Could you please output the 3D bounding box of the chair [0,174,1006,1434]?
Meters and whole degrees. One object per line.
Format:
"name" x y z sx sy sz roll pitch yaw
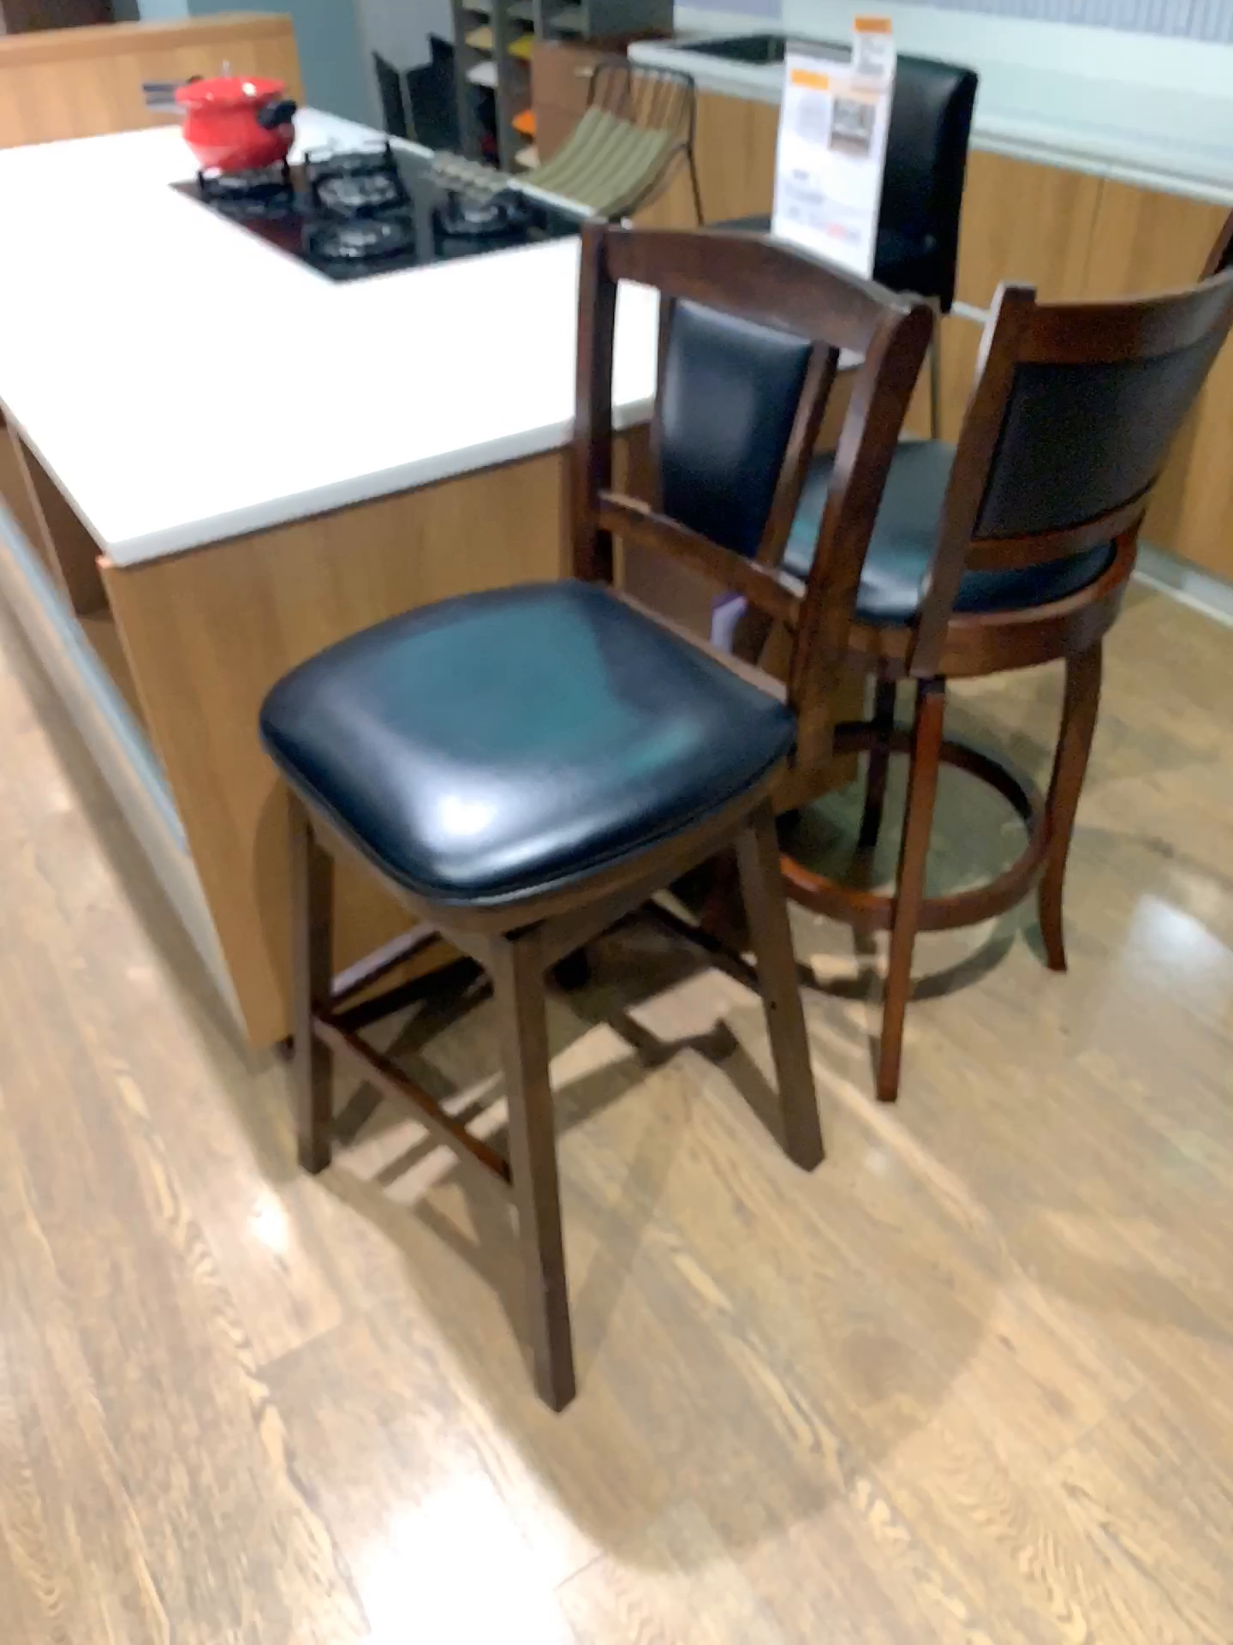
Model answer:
"chair" -0.083 -0.023 1.328 0.581 1.026 0.571 30 48 35

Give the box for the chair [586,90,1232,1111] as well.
"chair" 0.374 -0.280 1.622 0.551 1.026 0.572 -25 43 -27
